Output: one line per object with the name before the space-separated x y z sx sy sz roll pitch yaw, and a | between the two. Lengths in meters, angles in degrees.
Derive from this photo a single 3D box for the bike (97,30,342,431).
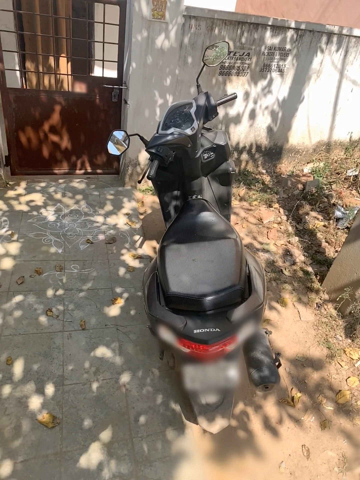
bike | -0.087 -0.164 1.821 0.606 1.177 1.513 1 37 -13
